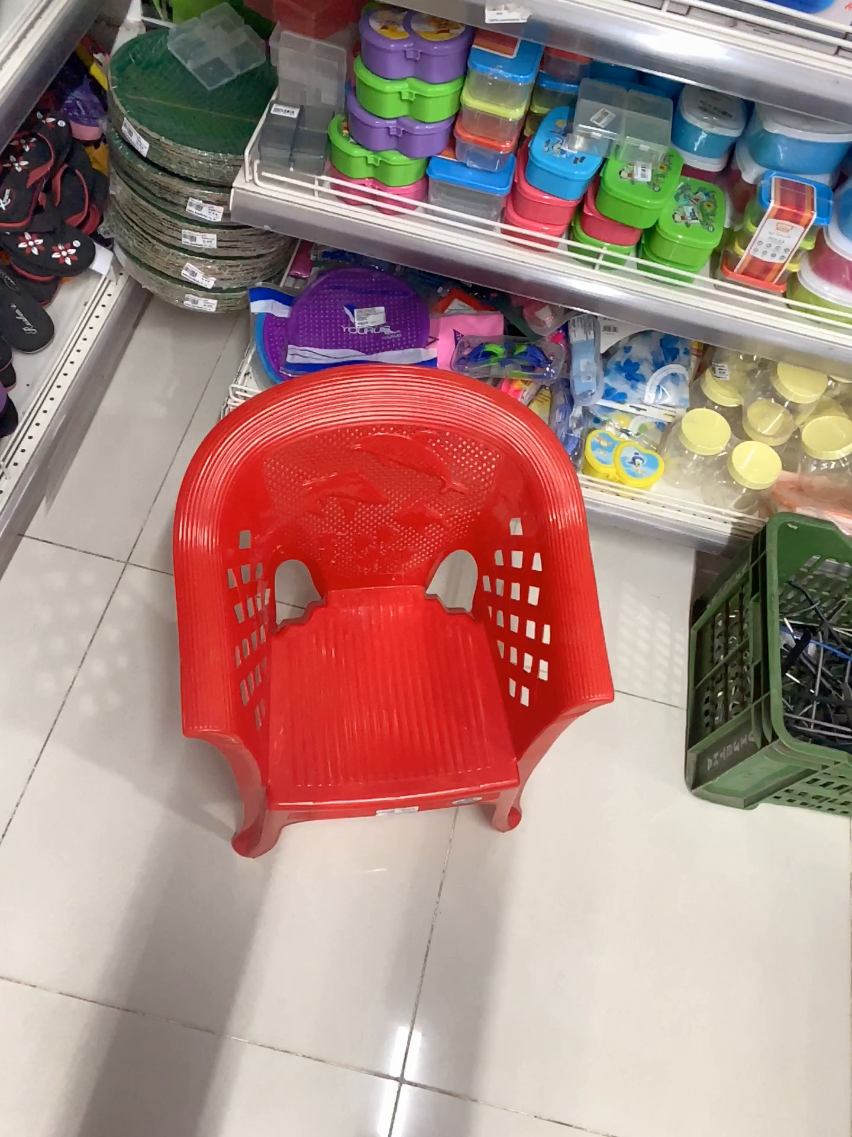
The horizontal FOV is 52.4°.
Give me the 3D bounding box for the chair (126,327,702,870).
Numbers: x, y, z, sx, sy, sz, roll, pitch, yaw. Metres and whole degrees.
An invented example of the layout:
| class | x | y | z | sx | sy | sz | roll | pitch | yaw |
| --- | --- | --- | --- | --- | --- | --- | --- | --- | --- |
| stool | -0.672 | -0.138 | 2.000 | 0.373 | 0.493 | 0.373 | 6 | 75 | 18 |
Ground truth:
| class | x | y | z | sx | sy | sz | roll | pitch | yaw |
| --- | --- | --- | --- | --- | --- | --- | --- | --- | --- |
| chair | -0.047 | 0.062 | 1.068 | 0.500 | 0.479 | 0.491 | -2 | 63 | -8 |
